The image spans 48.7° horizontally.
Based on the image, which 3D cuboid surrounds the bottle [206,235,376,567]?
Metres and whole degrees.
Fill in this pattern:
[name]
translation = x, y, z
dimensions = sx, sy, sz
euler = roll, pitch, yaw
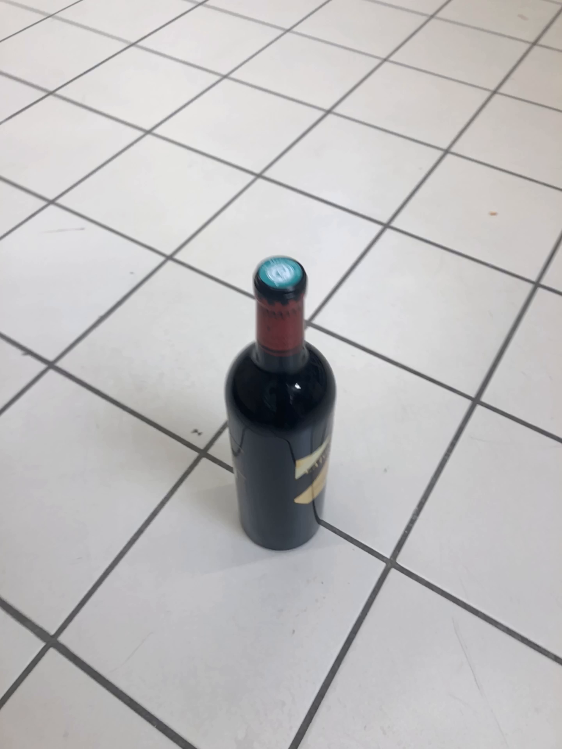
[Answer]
[bottle]
translation = 0.001, 0.041, 0.438
dimensions = 0.080, 0.278, 0.080
euler = 0, 52, 0
